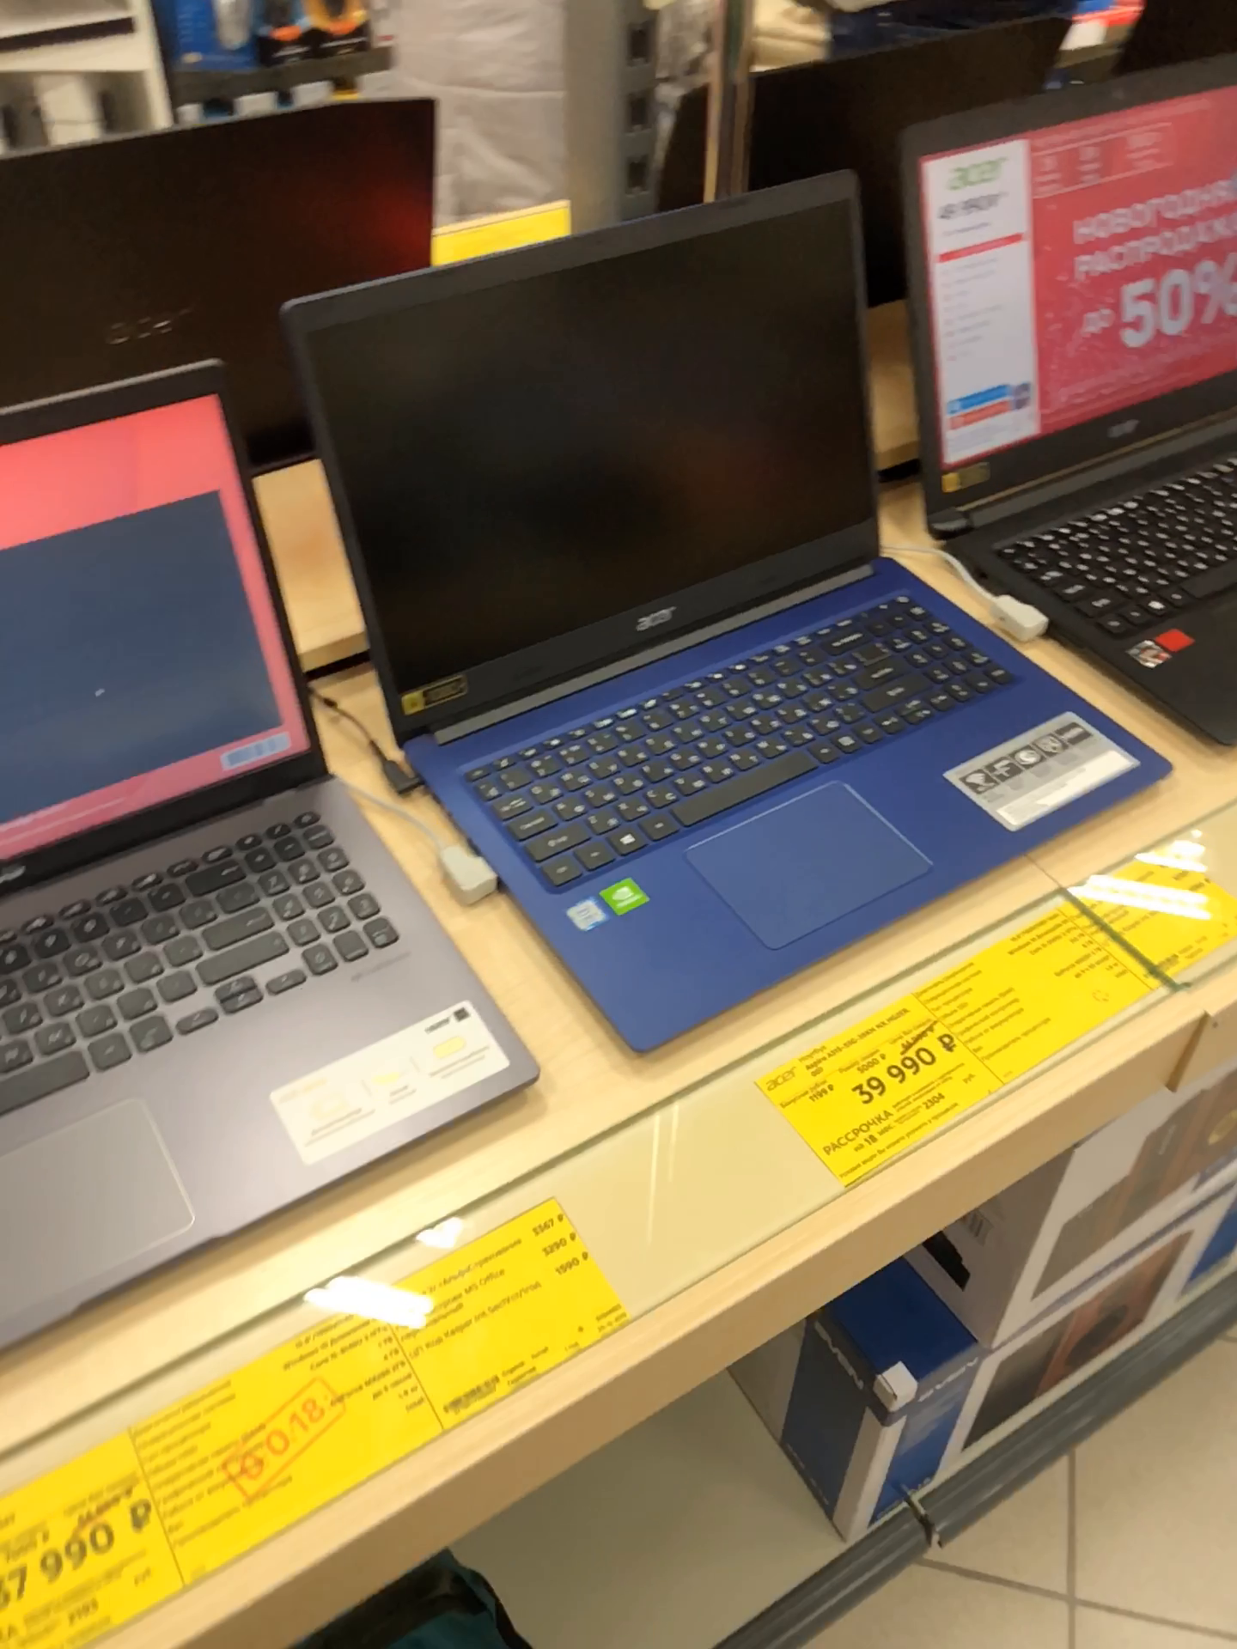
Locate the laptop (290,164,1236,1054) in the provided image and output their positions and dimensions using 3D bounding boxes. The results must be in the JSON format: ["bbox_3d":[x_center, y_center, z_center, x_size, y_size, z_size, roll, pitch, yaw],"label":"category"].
[{"bbox_3d":[0.076,-0.143,0.714,0.357,0.221,0.328,-23,50,-24],"label":"laptop"}]
